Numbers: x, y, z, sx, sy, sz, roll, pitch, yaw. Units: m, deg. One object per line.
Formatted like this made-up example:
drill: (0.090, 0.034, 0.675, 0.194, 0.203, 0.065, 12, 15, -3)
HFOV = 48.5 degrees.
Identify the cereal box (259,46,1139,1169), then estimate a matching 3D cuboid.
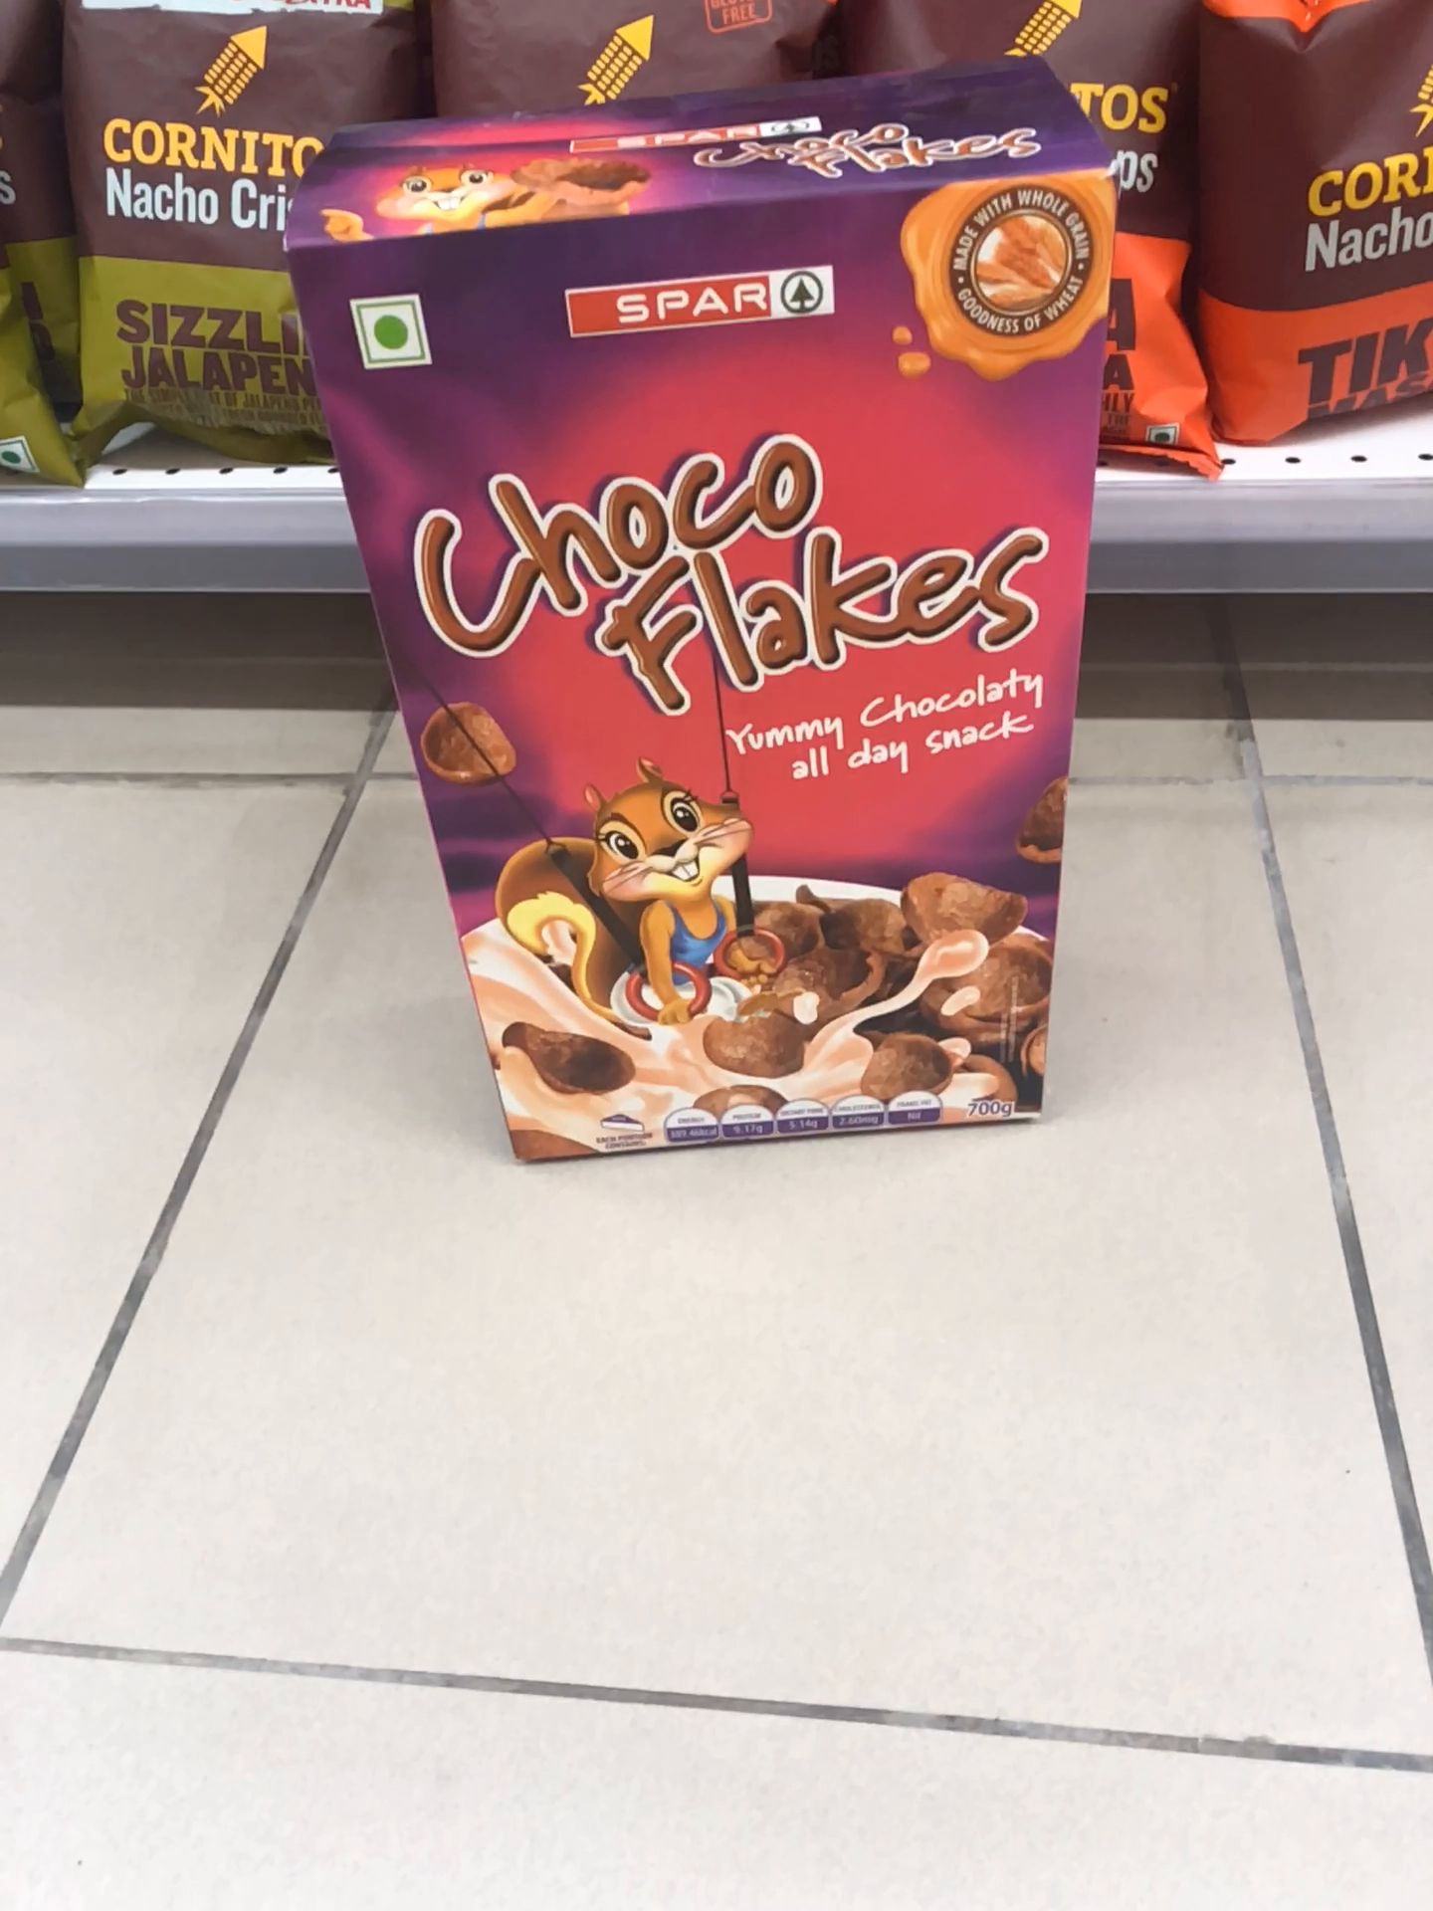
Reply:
cereal box: (0.006, -0.081, 0.510, 0.200, 0.339, 0.090, -5, 44, 1)
